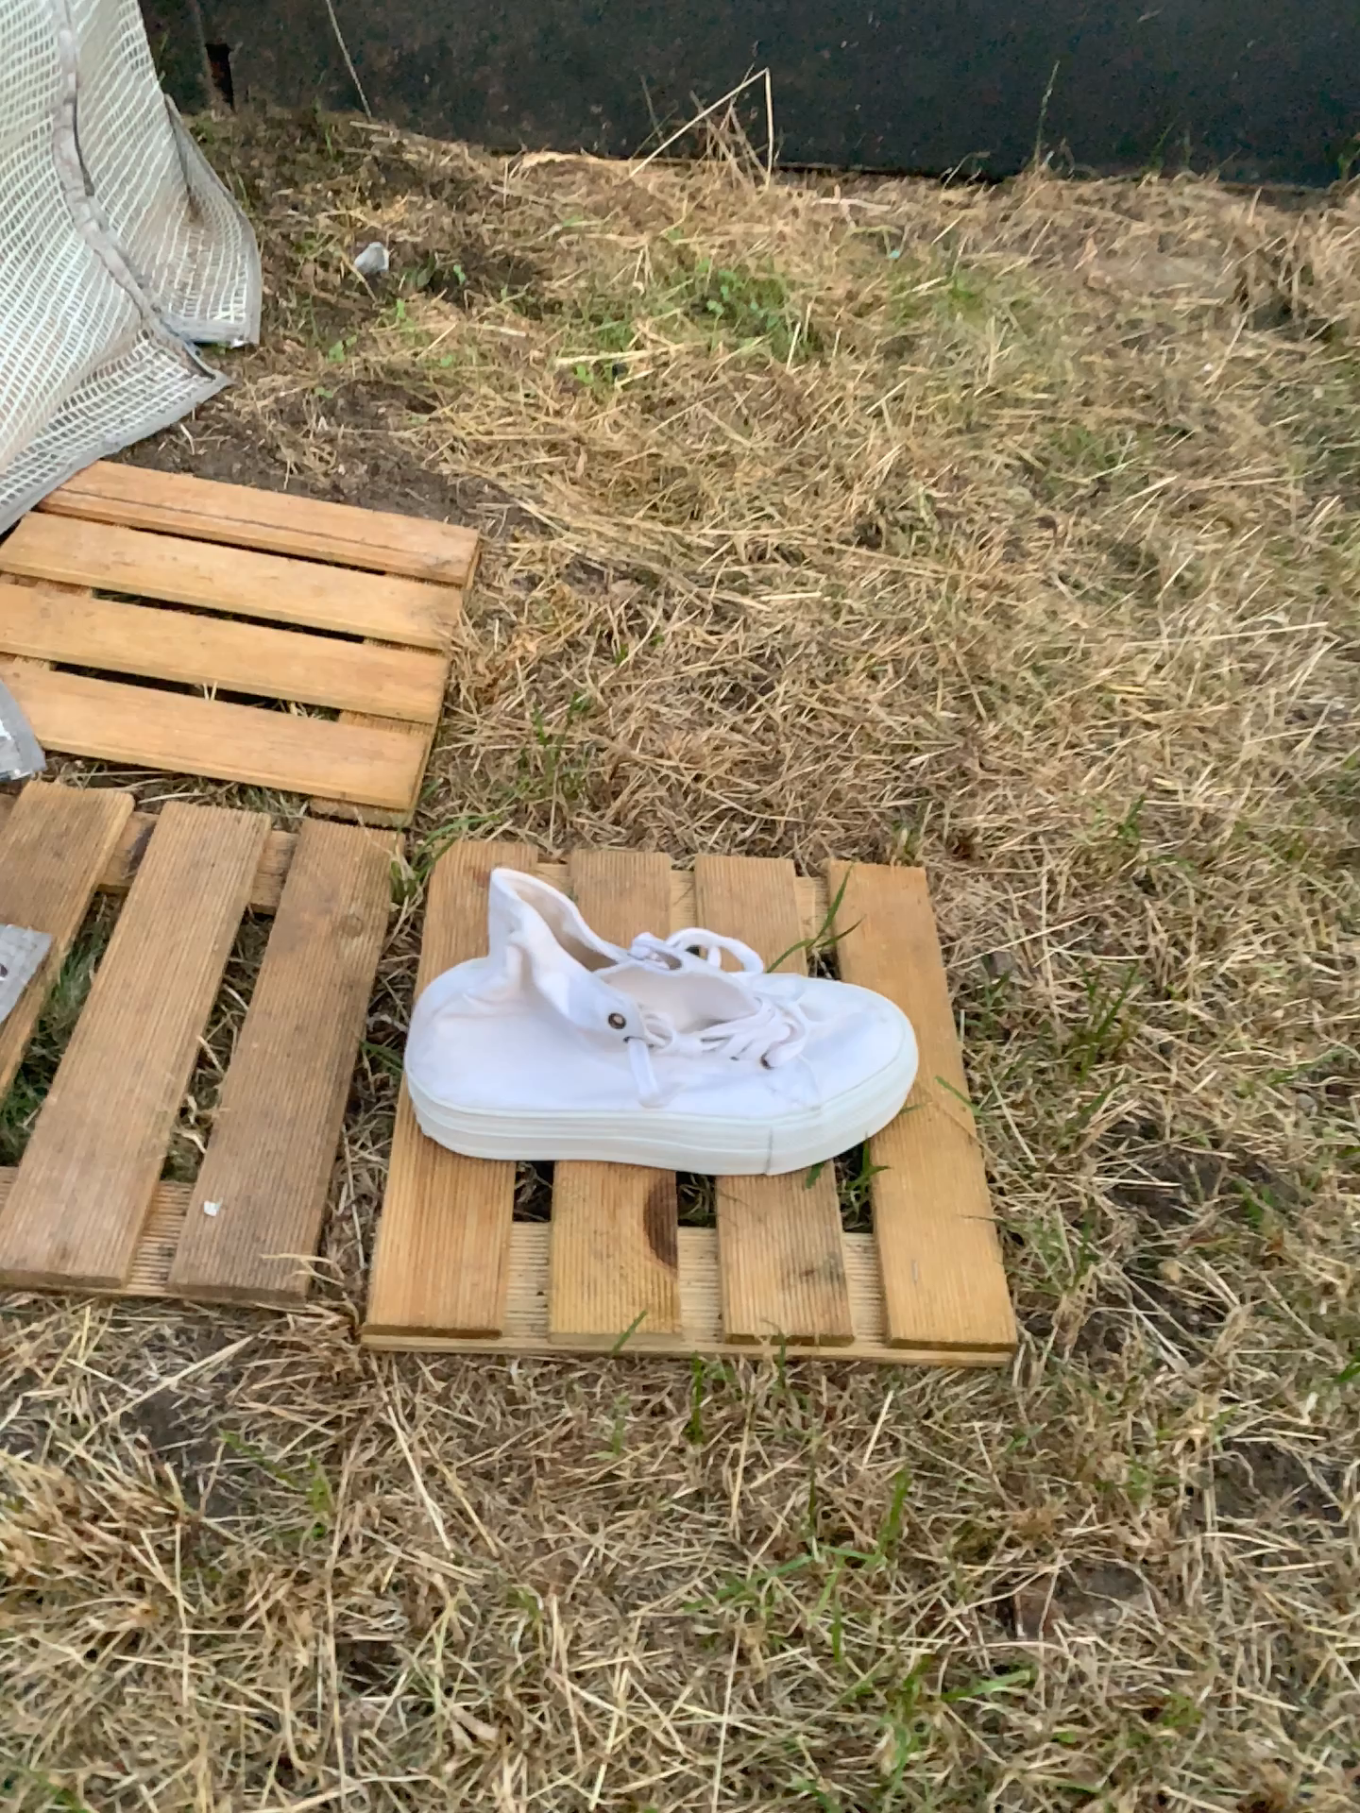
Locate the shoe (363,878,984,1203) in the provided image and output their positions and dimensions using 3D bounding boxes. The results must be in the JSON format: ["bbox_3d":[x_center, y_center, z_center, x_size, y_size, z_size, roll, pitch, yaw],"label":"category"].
[{"bbox_3d":[-0.005,0.063,0.652,0.260,0.109,0.101,-1,47,-3],"label":"shoe"}]
